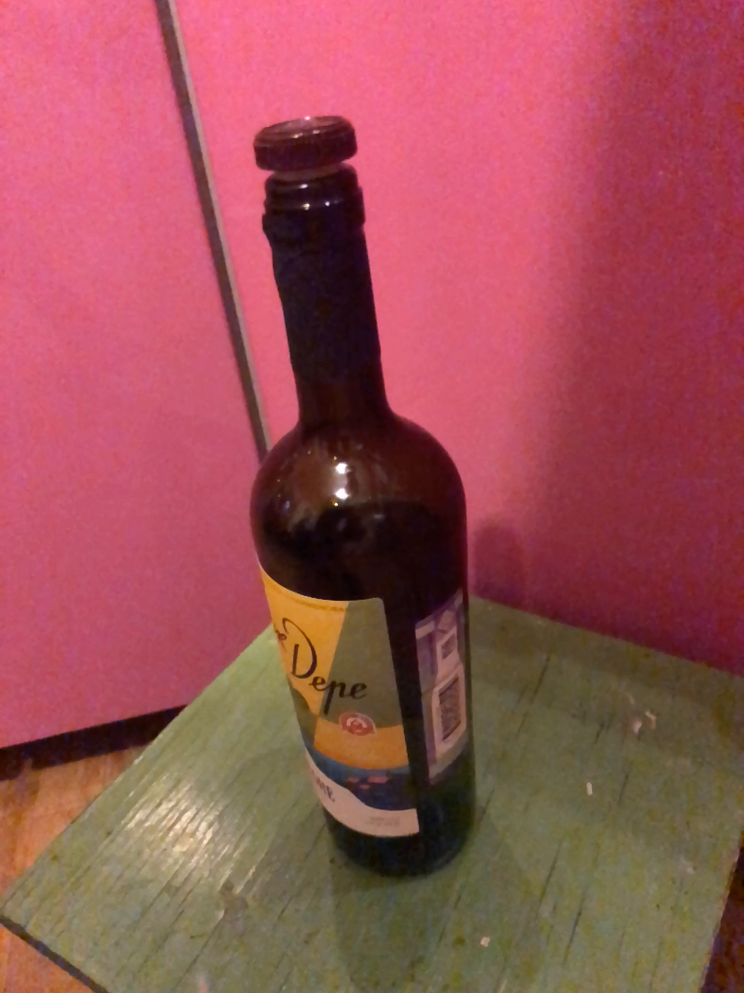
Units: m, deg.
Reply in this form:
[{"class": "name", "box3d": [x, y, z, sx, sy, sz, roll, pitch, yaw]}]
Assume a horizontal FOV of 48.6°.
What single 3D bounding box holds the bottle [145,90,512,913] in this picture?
[{"class": "bottle", "box3d": [-0.001, 0.024, 0.305, 0.071, 0.301, 0.072, -5, 34, 4]}]
